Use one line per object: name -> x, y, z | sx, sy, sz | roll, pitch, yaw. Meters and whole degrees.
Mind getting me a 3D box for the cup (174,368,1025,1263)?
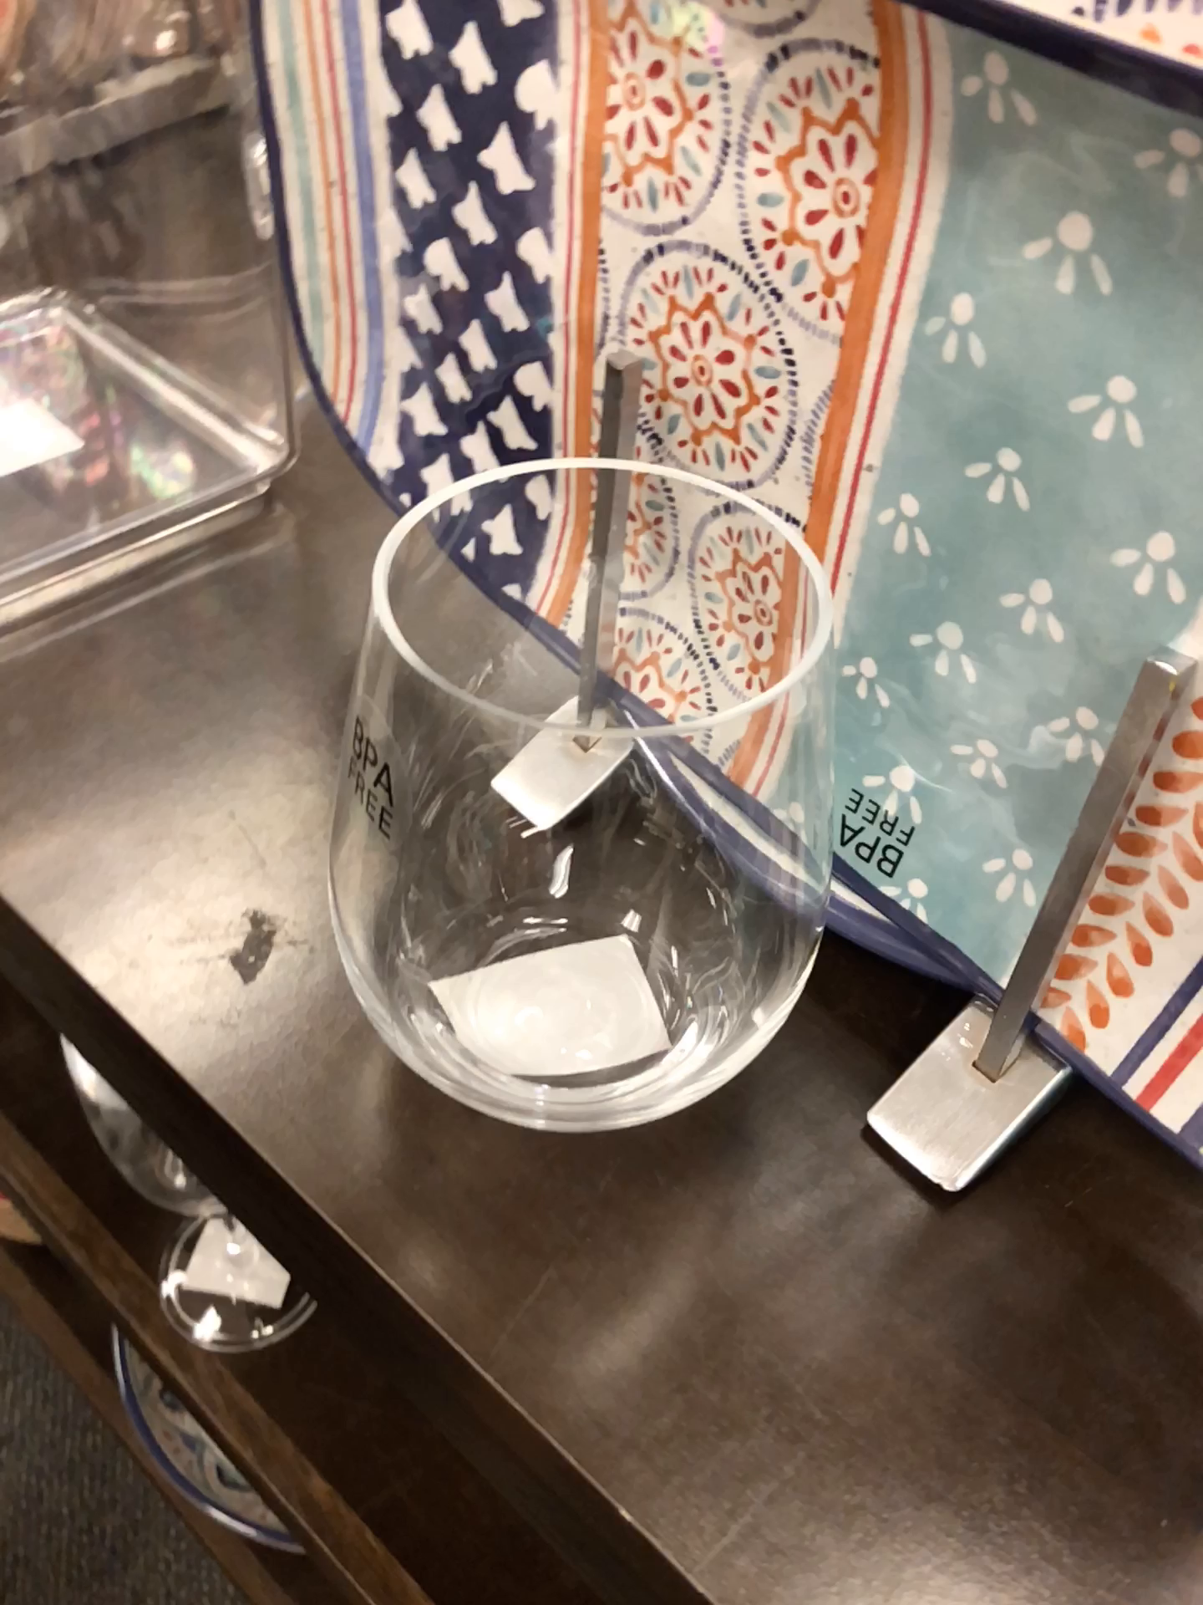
cup -> -0.004, -0.002, 0.242 | 0.094, 0.097, 0.094 | 3, 45, -3
